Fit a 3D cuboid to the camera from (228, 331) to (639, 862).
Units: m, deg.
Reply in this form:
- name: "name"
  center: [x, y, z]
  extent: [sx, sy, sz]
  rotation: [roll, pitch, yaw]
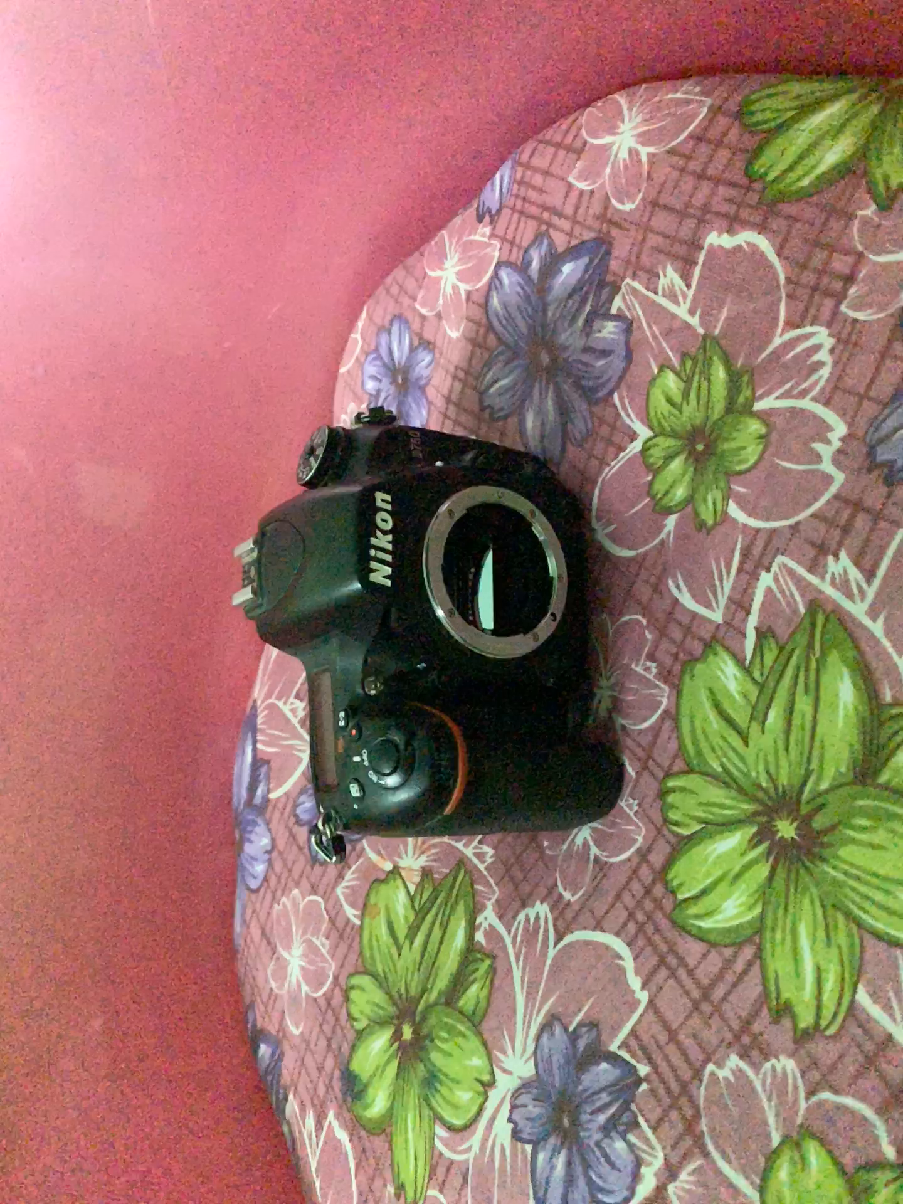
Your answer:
- name: "camera"
  center: [-0.010, 0.007, 0.304]
  extent: [0.093, 0.089, 0.140]
  rotation: [-14, 75, 48]
